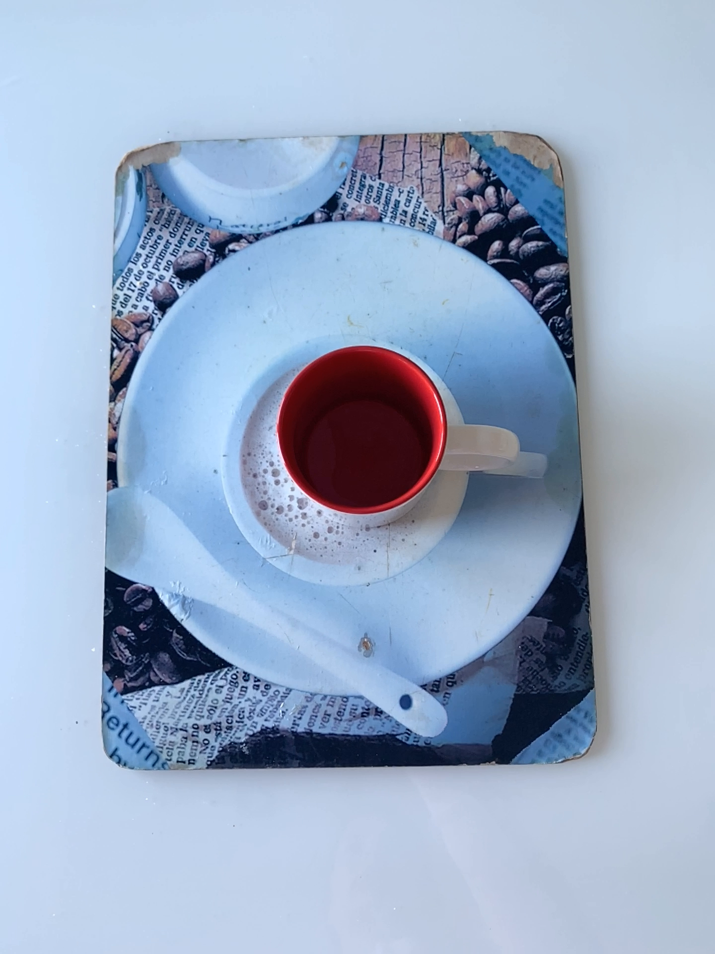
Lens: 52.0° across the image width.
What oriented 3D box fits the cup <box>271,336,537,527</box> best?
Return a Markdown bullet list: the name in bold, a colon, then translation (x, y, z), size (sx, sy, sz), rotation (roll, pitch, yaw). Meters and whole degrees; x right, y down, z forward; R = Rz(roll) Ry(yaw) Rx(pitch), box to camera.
- **cup**: translation (0.022, -0.017, 0.384), size (0.117, 0.115, 0.077), rotation (1, 82, 2)
